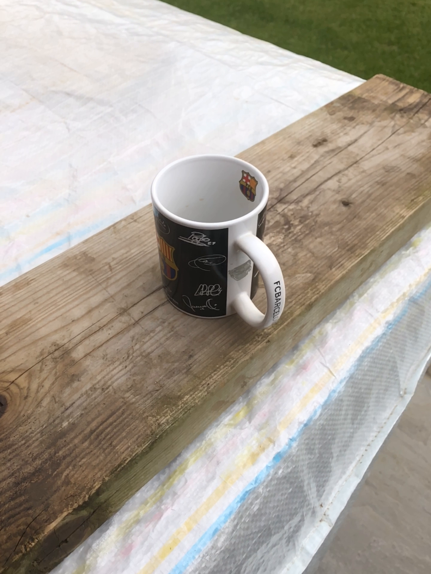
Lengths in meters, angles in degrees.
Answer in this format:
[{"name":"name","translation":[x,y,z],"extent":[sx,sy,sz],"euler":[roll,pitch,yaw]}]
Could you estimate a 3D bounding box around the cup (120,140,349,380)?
[{"name":"cup","translation":[0.007,-0.025,0.347],"extent":[0.090,0.089,0.131],"euler":[-26,53,-25]}]
